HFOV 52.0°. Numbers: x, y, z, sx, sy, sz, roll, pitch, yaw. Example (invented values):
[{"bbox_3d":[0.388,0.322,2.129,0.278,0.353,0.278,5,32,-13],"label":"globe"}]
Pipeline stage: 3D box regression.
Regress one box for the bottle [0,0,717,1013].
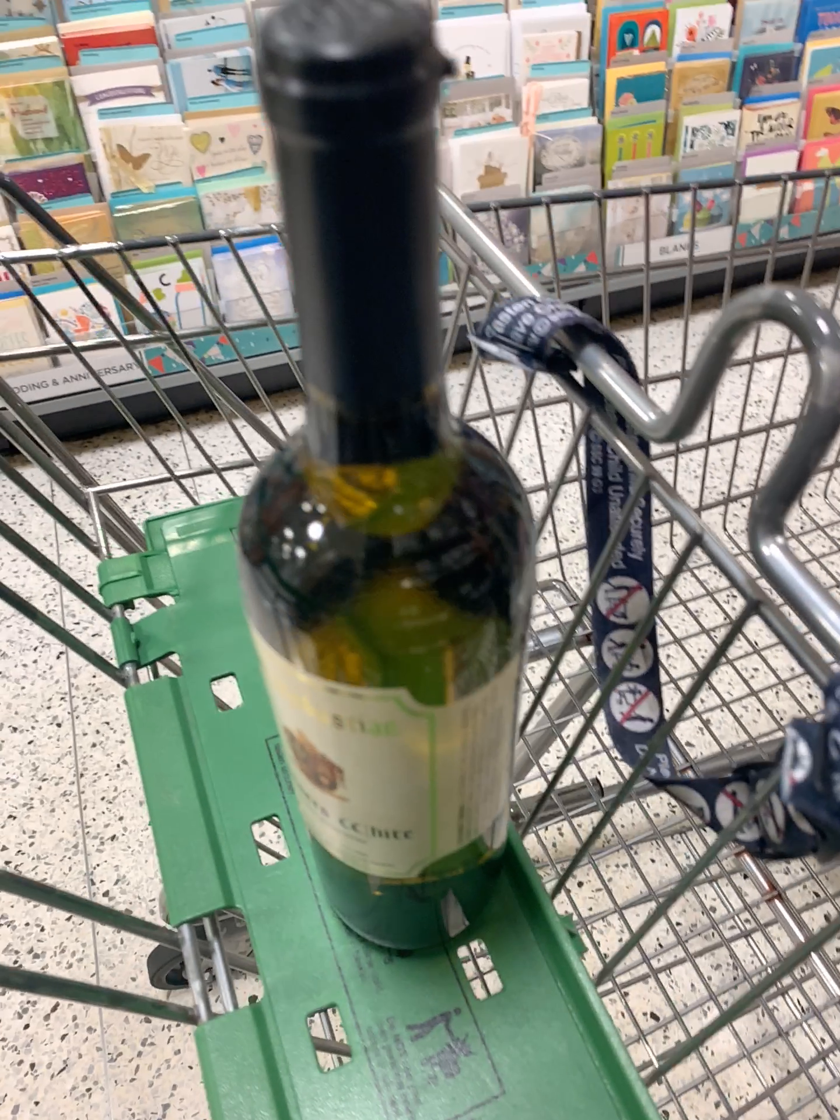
[{"bbox_3d":[-0.009,0.022,0.235,0.080,0.307,0.070,31,55,26],"label":"bottle"}]
